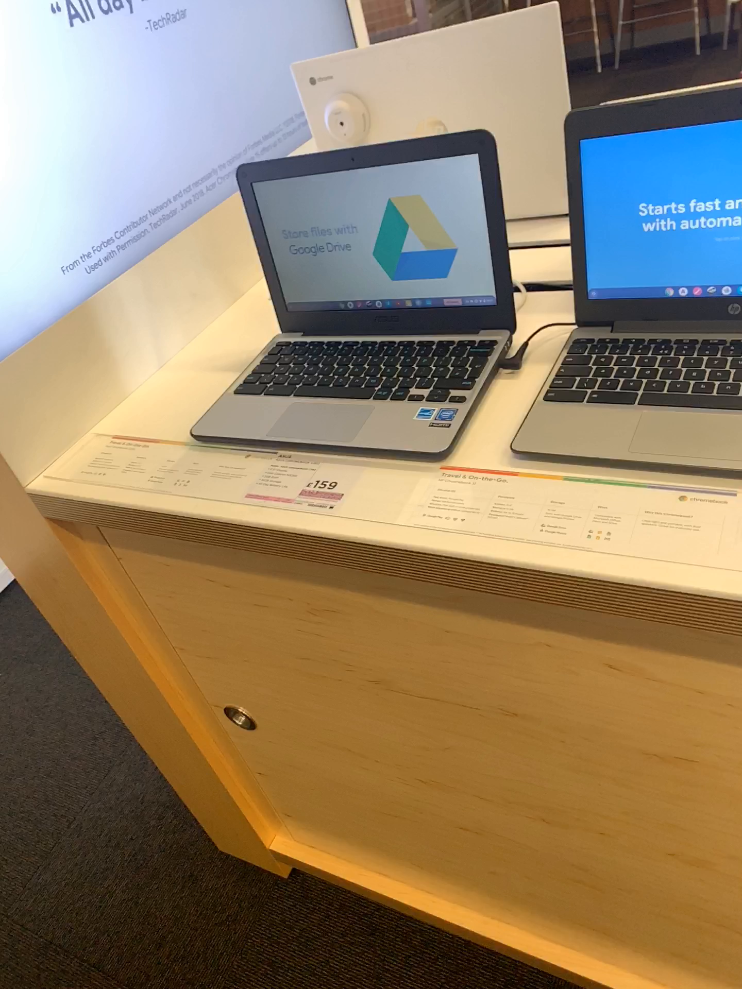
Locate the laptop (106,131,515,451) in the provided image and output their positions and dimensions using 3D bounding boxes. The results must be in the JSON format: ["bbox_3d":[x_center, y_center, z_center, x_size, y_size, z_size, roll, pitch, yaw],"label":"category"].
[{"bbox_3d":[-0.042,-0.191,0.717,0.280,0.183,0.217,6,43,29],"label":"laptop"}]
